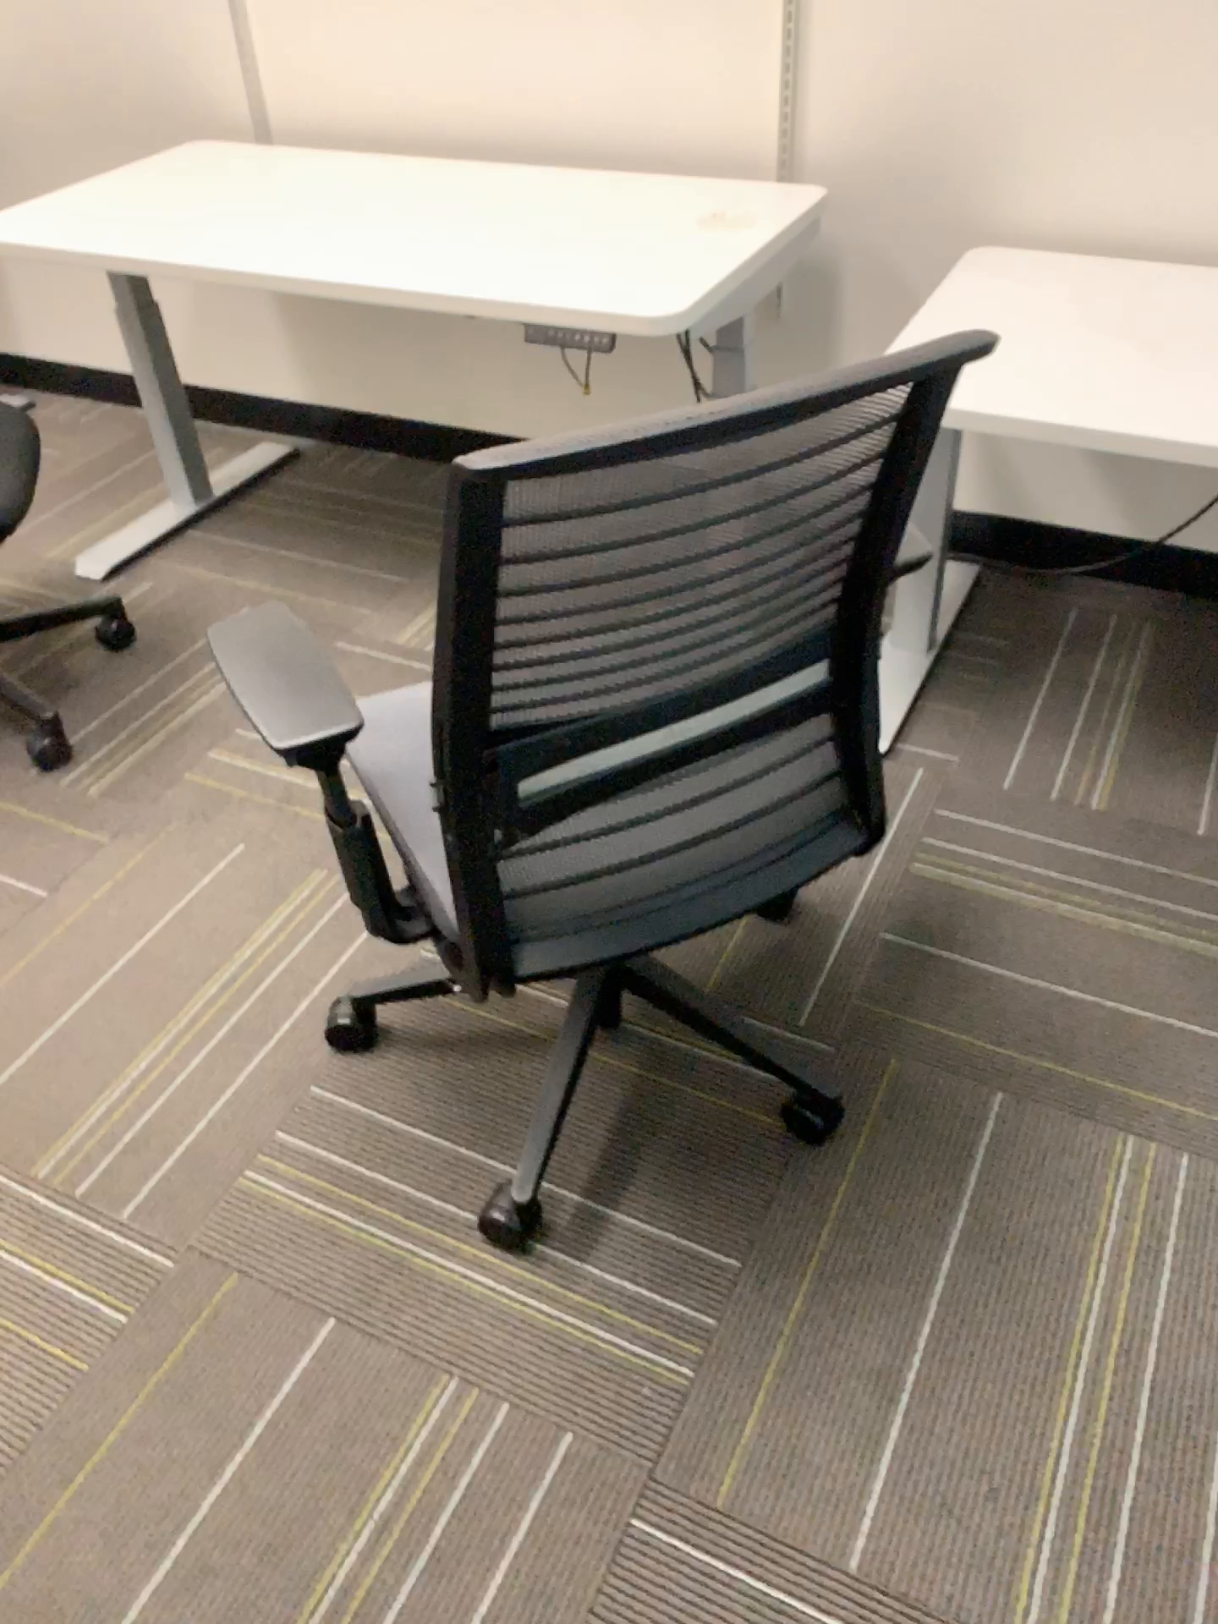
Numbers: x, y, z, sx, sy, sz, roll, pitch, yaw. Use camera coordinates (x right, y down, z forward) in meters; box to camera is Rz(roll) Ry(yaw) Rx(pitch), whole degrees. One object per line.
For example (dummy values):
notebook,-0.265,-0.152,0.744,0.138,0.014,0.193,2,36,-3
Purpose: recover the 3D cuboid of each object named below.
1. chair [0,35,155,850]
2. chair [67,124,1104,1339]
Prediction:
chair,-1.283,-0.627,2.082,0.700,0.994,0.735,-16,41,-15
chair,-0.039,-0.099,1.377,0.640,0.994,0.644,-23,44,-23
